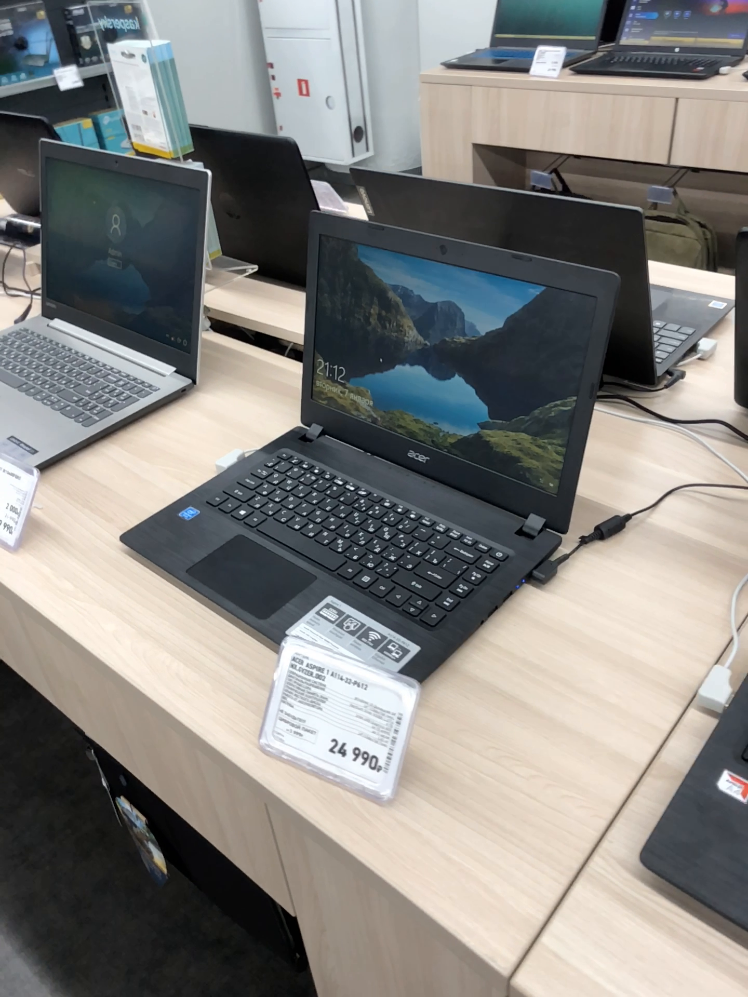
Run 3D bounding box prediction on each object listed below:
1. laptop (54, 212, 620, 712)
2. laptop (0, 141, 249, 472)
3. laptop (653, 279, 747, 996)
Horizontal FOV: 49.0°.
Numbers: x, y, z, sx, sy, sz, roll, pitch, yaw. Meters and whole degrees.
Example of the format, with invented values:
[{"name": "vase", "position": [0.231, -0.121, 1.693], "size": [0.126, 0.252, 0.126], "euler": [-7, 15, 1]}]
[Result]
[{"name": "laptop", "position": [-0.025, -0.069, 0.720], "size": [0.343, 0.223, 0.302], "euler": [25, 46, 35]}, {"name": "laptop", "position": [-0.430, -0.265, 1.026], "size": [0.363, 0.236, 0.338], "euler": [25, 47, 37]}, {"name": "laptop", "position": [0.415, 0.094, 0.415], "size": [0.380, 0.216, 0.377], "euler": [24, 46, 35]}]
